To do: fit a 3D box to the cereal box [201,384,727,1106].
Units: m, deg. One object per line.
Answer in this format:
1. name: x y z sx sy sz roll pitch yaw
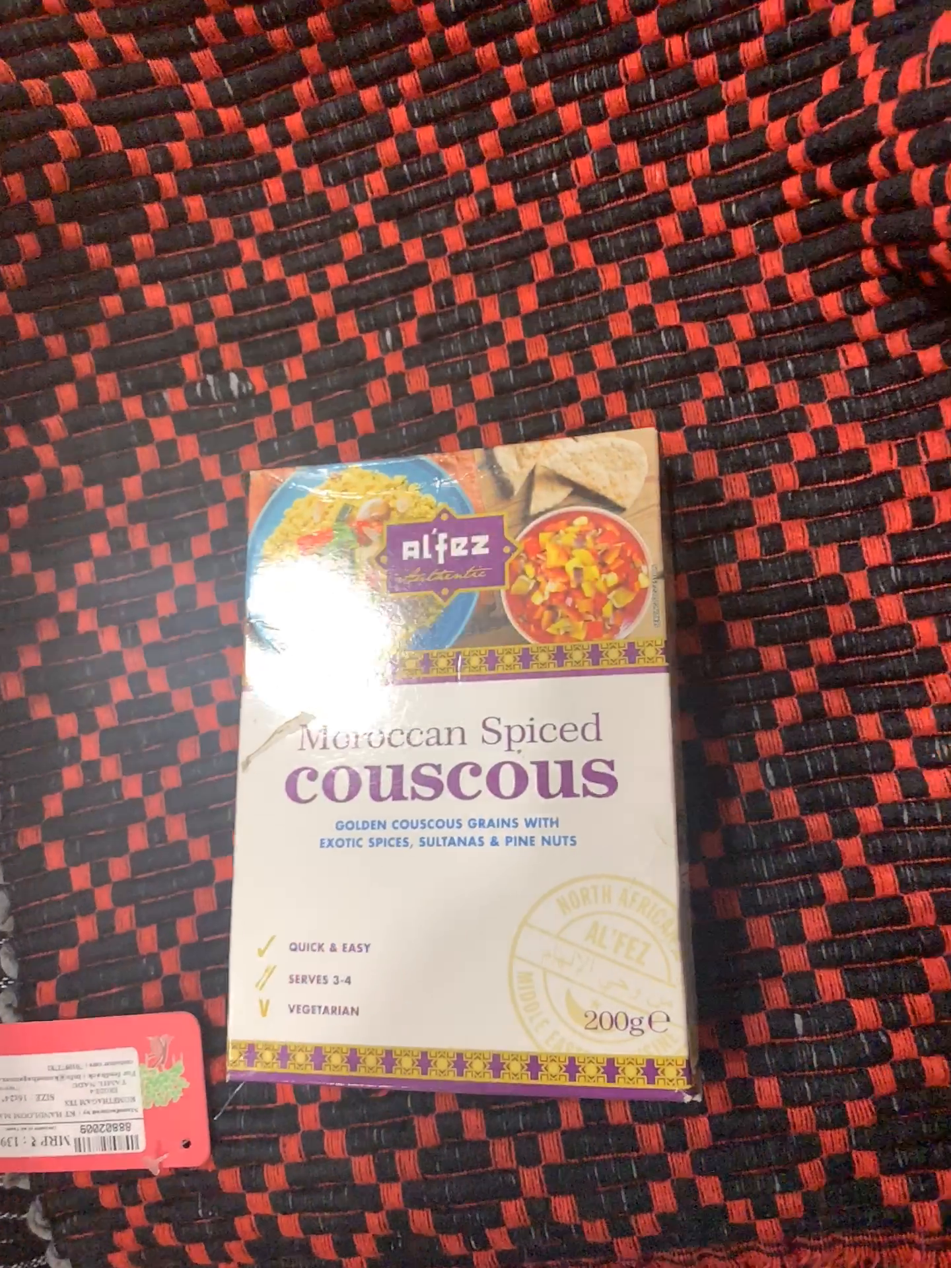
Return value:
1. cereal box: 0.000 0.027 0.257 0.120 0.050 0.160 -3 78 14
